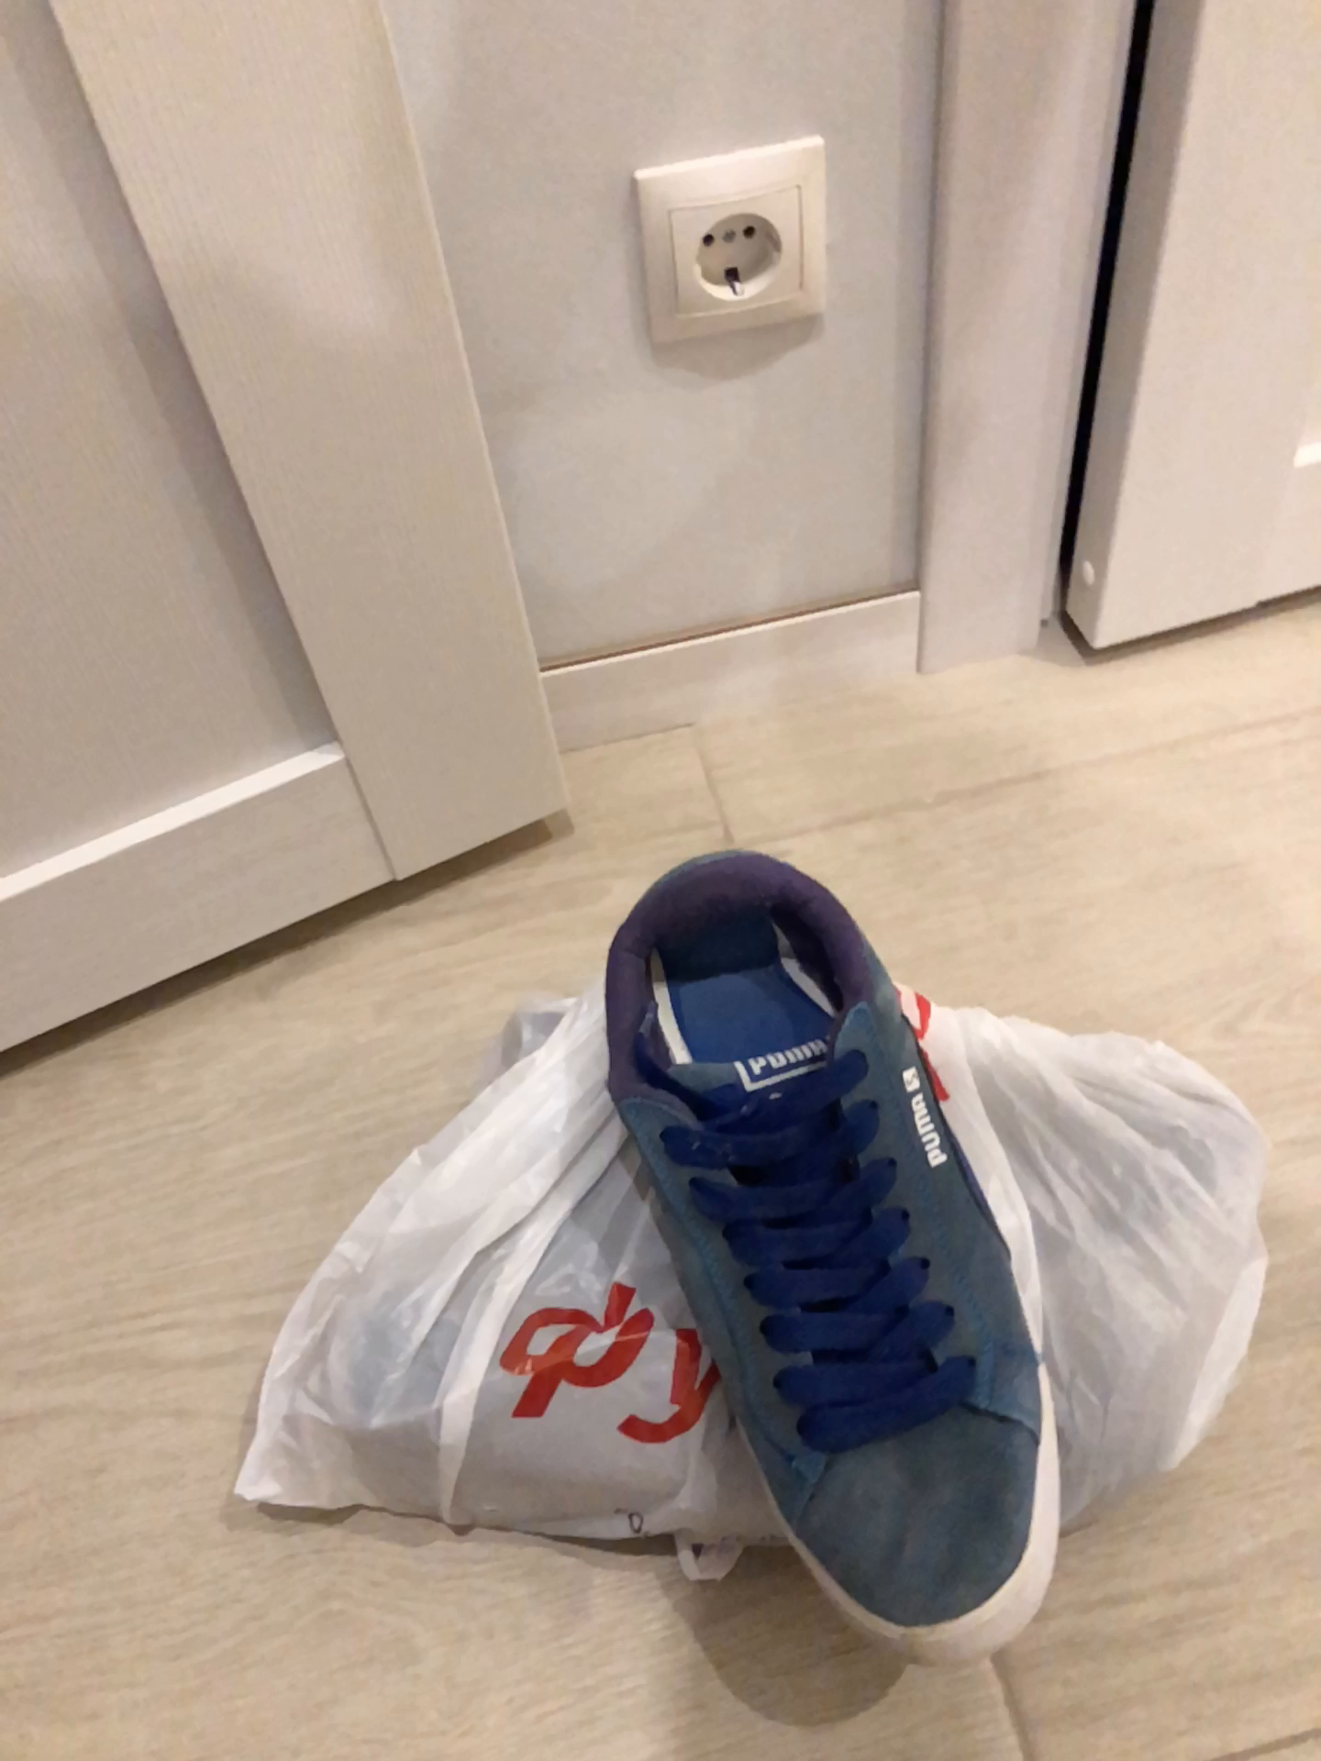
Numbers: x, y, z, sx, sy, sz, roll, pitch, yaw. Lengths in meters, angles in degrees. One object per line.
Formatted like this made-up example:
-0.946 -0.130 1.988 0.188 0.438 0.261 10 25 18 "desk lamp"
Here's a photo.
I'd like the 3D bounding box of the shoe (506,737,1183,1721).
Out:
0.049 0.103 0.507 0.110 0.099 0.302 -22 52 -1 "shoe"
